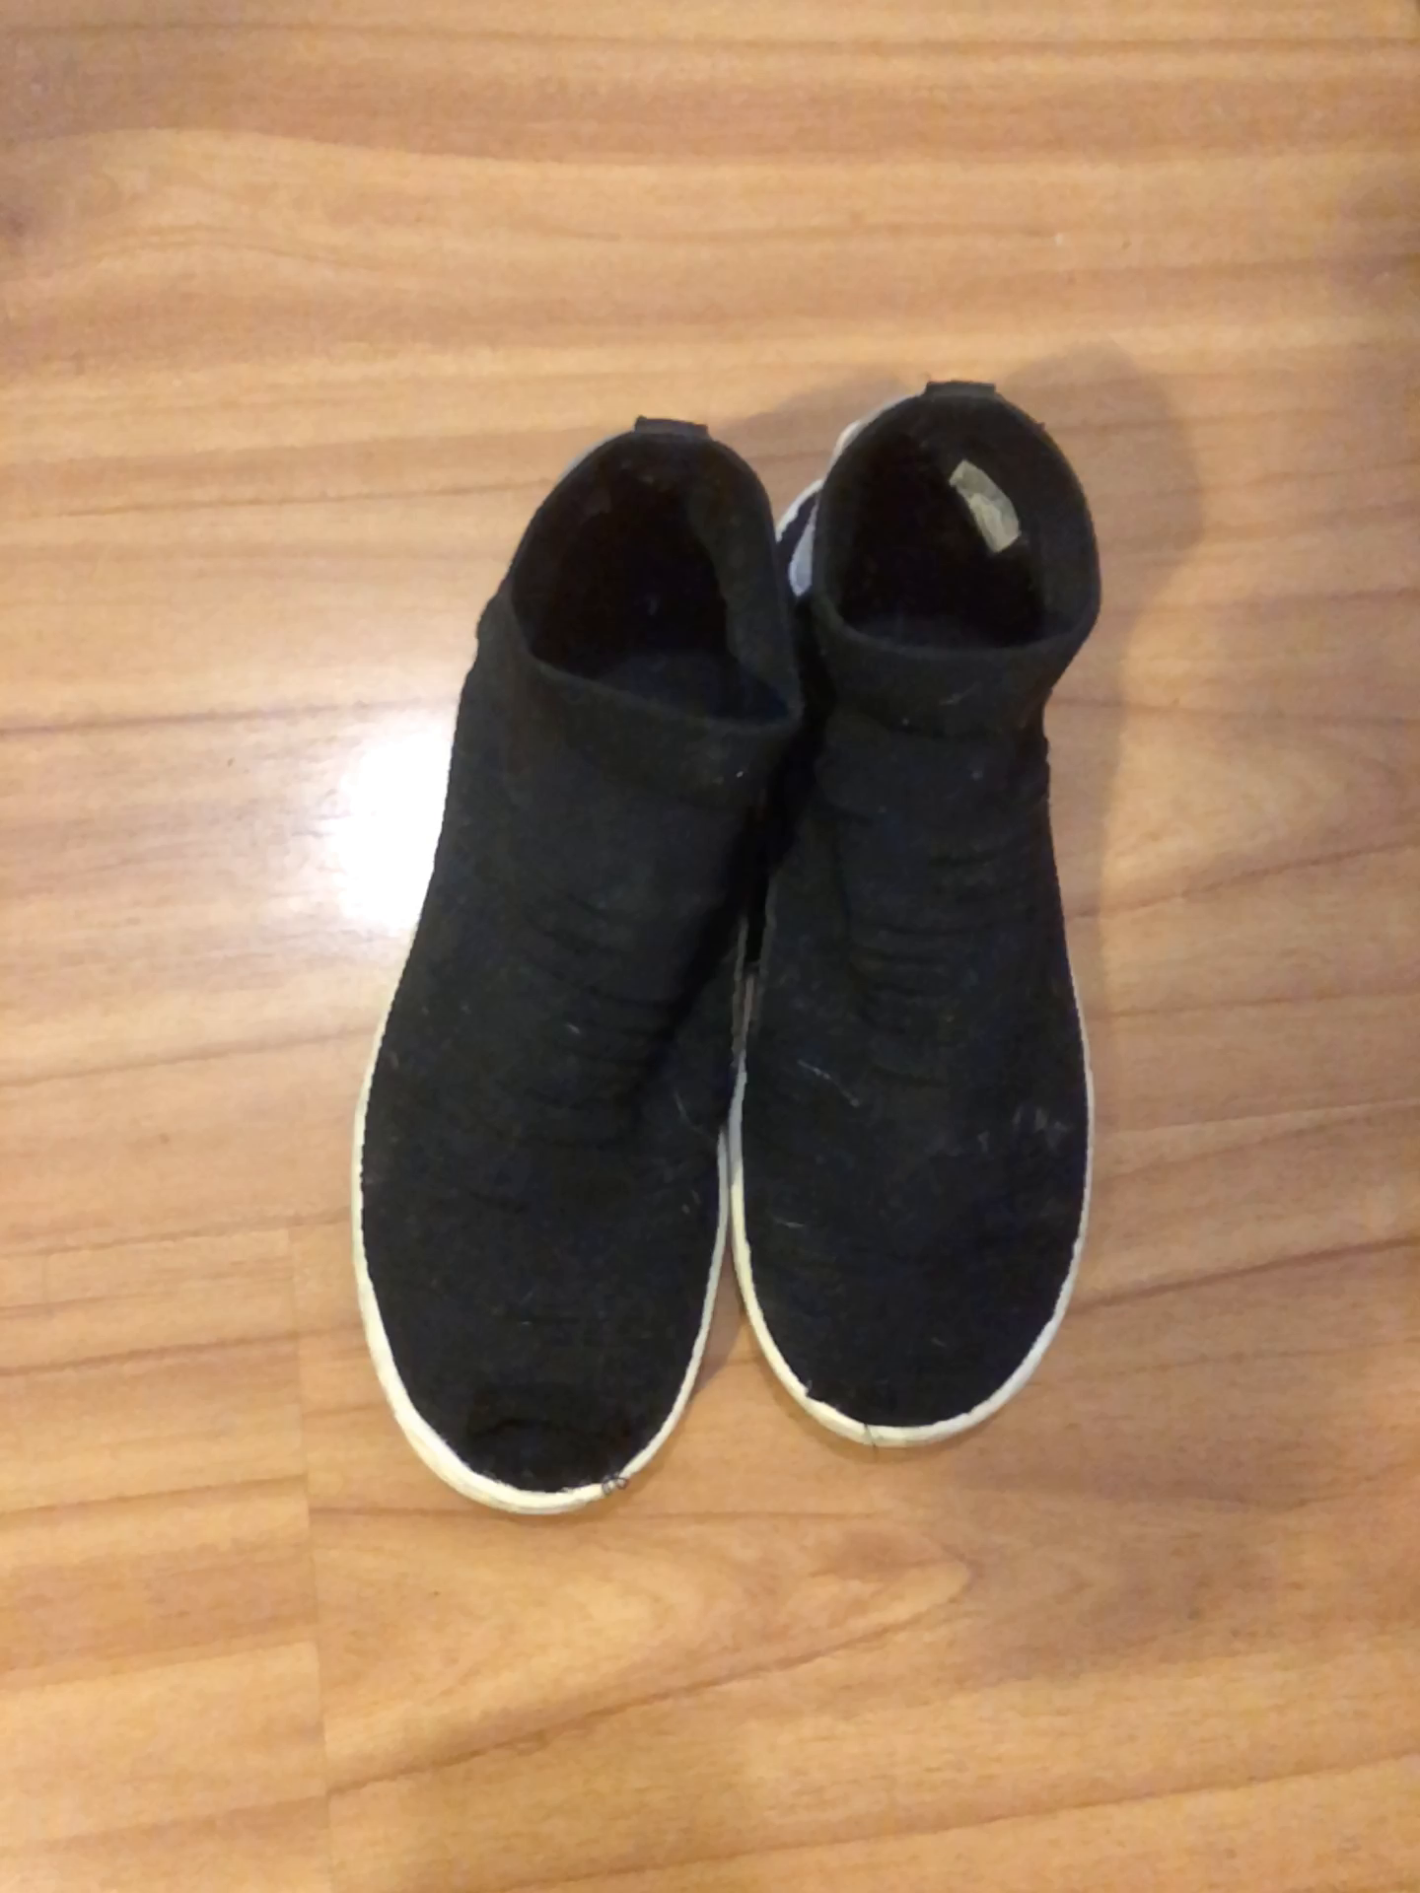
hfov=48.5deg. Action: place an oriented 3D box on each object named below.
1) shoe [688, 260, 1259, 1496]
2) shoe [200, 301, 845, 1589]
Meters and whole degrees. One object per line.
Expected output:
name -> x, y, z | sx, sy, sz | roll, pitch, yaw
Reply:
shoe -> 0.052, -0.015, 0.380 | 0.100, 0.100, 0.260 | -1, 81, -6
shoe -> -0.039, 0.000, 0.376 | 0.100, 0.100, 0.260 | 7, 80, -5
